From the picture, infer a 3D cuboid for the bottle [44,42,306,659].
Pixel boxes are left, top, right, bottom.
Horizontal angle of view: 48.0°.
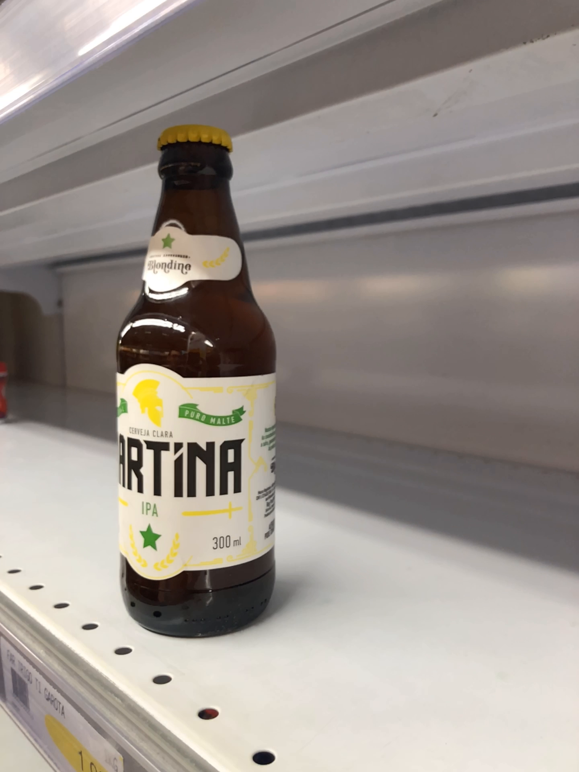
[{"bbox_3d":[-0.038,-0.011,0.241,0.070,0.190,0.060,2,5,23],"label":"bottle"}]
